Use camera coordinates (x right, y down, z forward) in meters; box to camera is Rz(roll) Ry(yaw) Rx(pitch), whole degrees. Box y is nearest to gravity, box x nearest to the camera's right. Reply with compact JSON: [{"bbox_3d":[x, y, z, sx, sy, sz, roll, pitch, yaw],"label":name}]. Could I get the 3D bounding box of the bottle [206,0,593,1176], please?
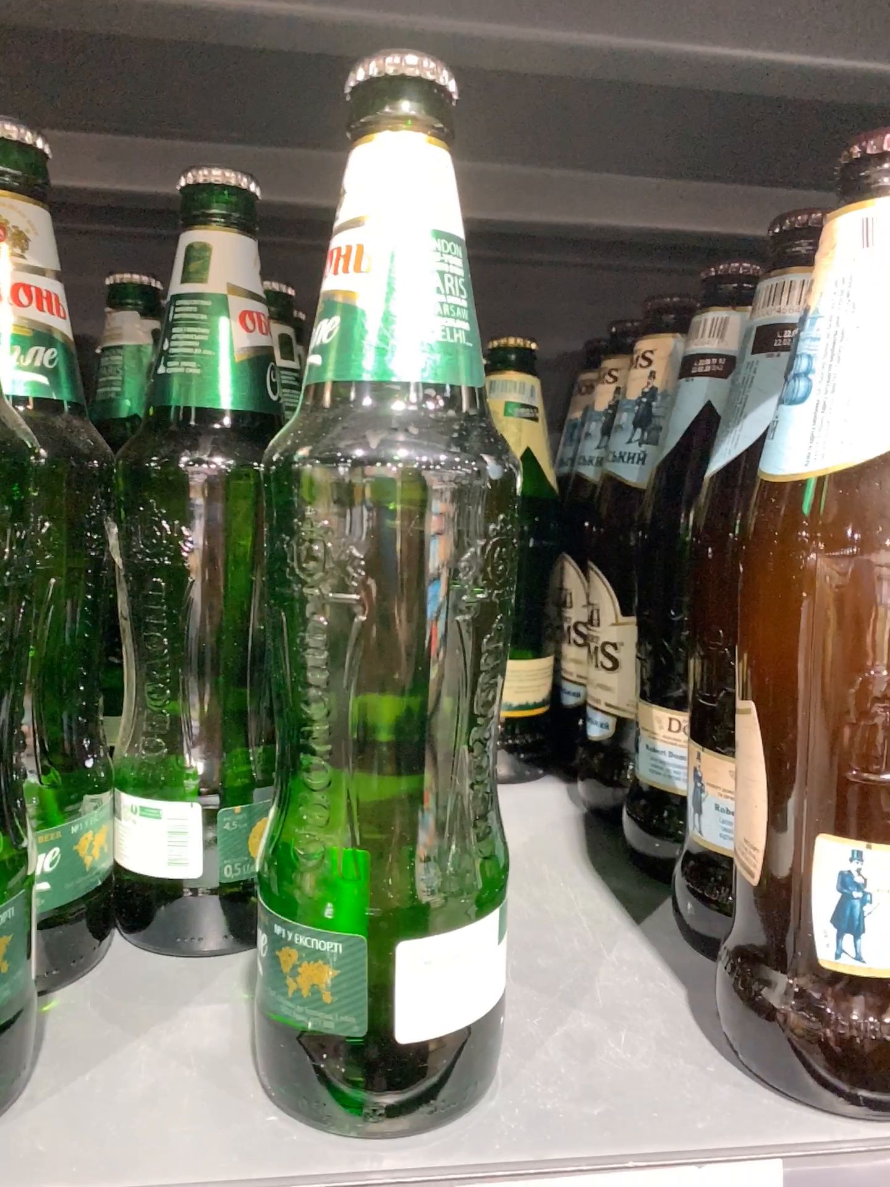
[{"bbox_3d":[-0.017,-0.005,0.239,0.070,0.257,0.073,2,5,0],"label":"bottle"}]
